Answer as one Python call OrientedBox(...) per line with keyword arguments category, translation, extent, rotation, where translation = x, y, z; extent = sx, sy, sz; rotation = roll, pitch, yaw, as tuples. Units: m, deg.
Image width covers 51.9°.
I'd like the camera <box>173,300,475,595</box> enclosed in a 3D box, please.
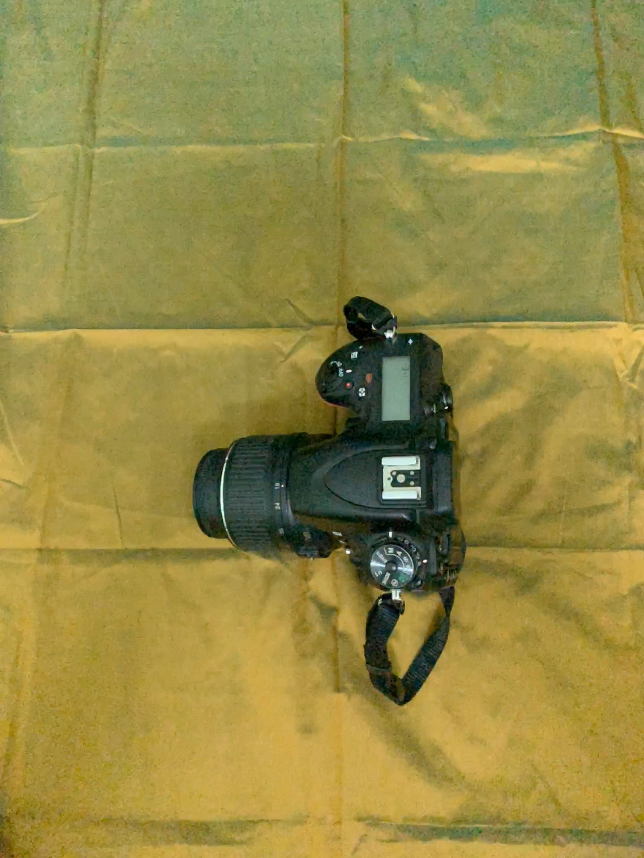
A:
OrientedBox(category="camera", translation=(0.011, 0.022, 0.371), extent=(0.131, 0.120, 0.135), rotation=(-3, 76, 18))
